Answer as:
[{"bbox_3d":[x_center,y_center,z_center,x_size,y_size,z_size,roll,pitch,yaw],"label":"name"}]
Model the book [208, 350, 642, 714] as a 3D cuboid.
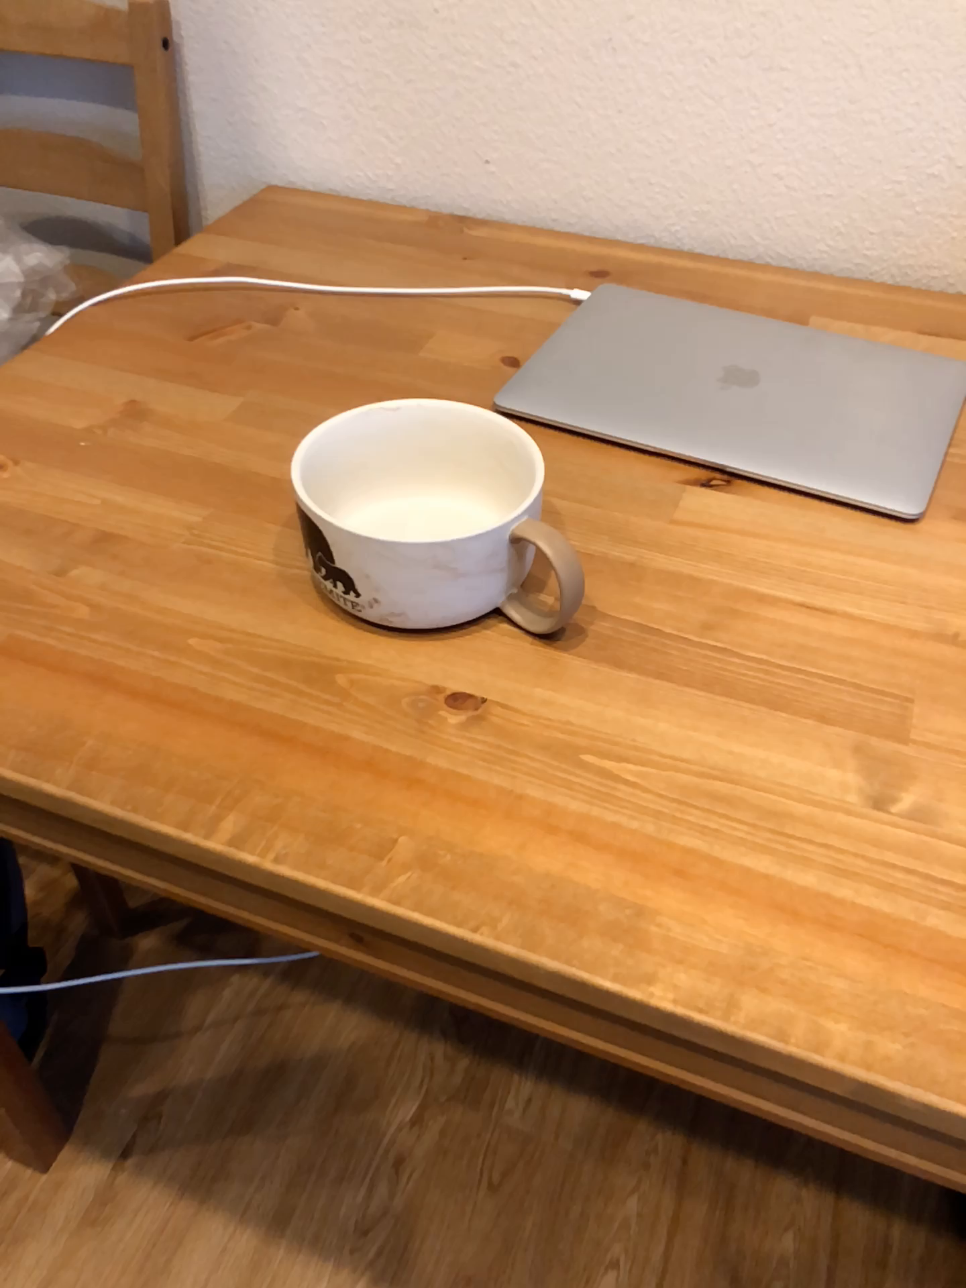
[{"bbox_3d":[-0.033,-0.071,0.581,0.190,0.080,0.130,32,51,31],"label":"book"}]
